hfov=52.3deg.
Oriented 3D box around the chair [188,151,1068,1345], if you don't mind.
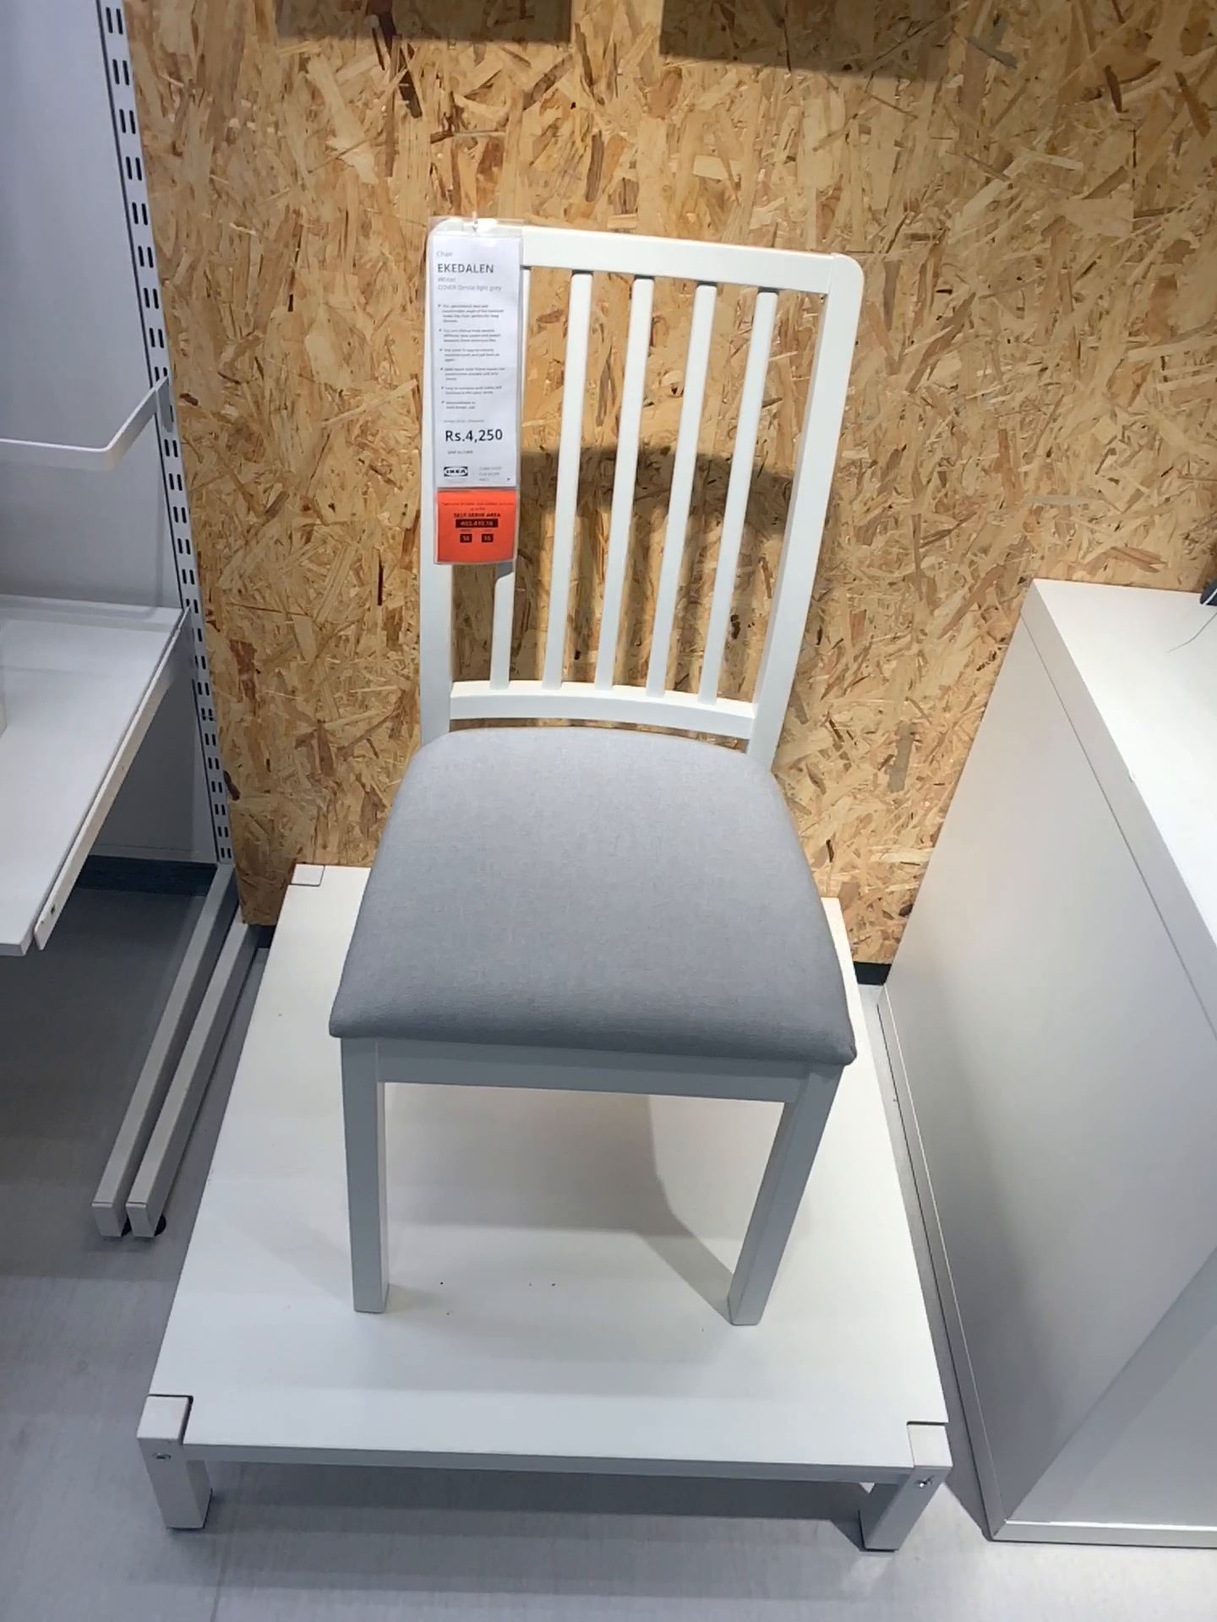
[{"bbox_3d":[-0.031,-0.004,1.082,0.430,0.886,0.512,4,40,-4],"label":"chair"}]
